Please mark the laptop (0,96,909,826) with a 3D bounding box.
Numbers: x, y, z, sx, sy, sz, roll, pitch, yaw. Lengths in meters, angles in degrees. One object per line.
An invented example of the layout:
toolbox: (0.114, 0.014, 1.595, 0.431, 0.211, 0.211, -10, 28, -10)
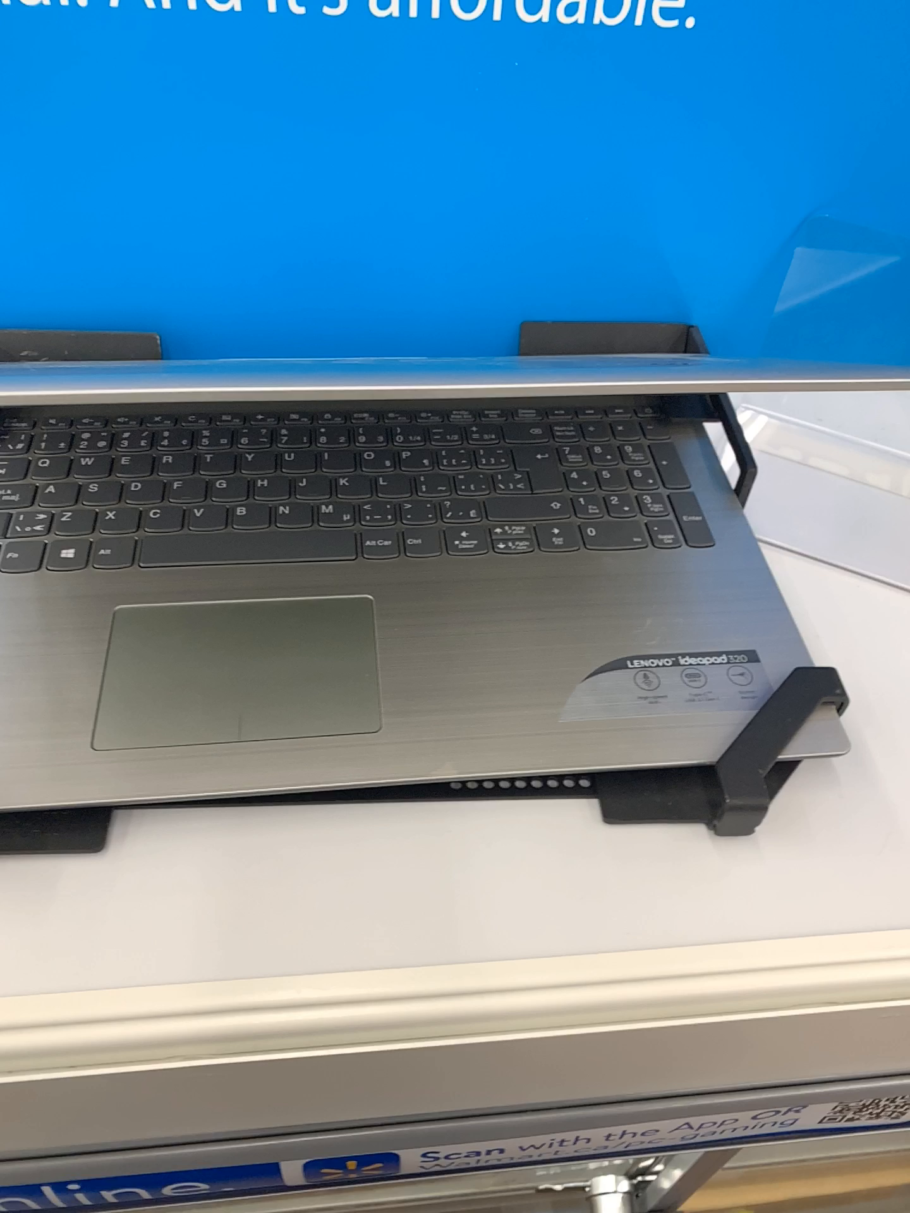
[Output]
laptop: (-0.037, -0.068, 0.328, 0.326, 0.115, 0.230, -2, 48, -7)
